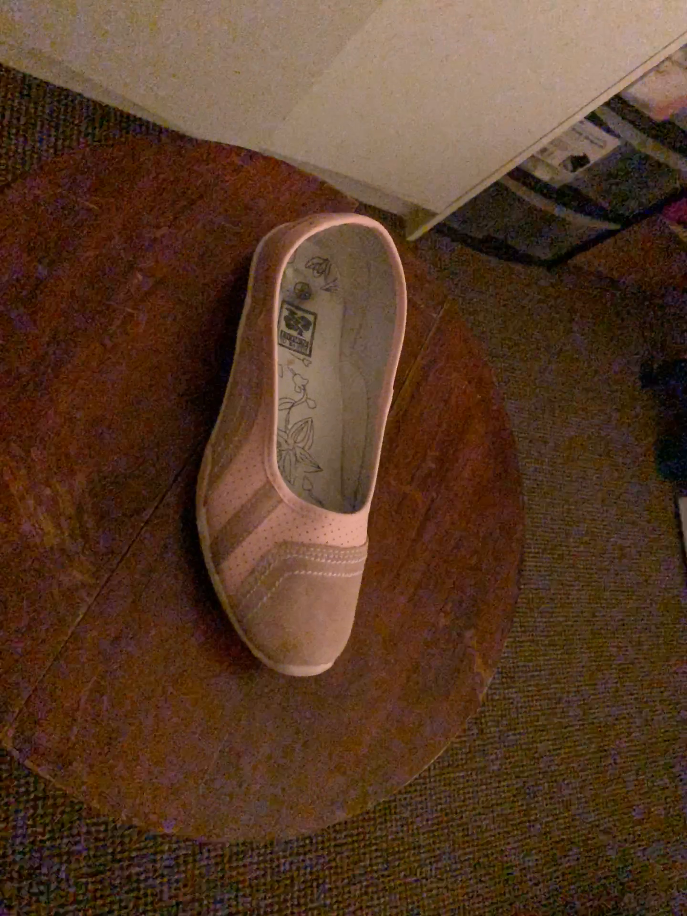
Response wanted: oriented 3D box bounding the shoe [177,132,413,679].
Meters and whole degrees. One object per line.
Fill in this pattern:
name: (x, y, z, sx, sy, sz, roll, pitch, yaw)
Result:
shoe: (-0.024, -0.024, 0.377, 0.090, 0.070, 0.271, 11, 69, -33)
